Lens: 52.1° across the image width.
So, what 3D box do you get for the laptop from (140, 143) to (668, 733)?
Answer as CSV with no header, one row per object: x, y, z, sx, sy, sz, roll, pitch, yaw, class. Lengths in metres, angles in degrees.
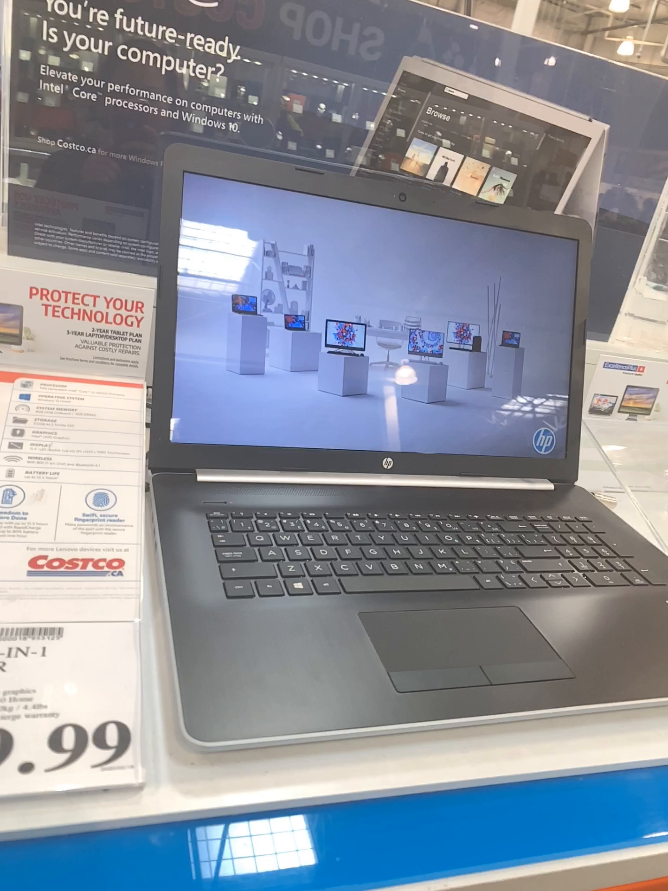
0.085,-0.047,0.488,0.395,0.234,0.371,3,23,-20,laptop
